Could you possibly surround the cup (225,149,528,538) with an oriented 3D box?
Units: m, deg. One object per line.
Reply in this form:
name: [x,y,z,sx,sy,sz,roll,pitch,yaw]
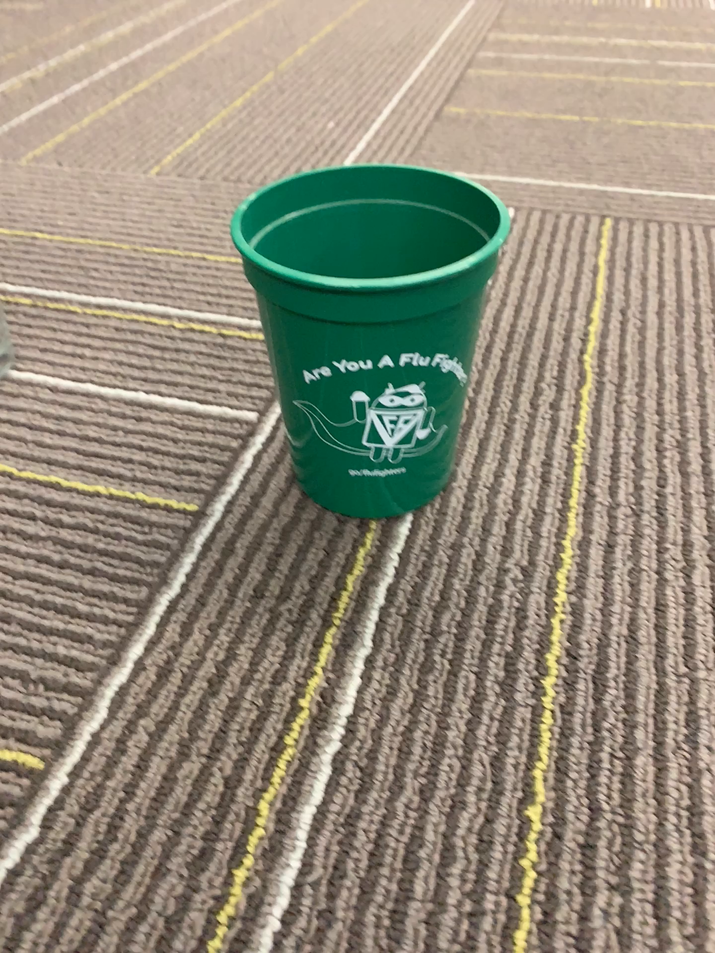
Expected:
cup: [0.005,-0.049,0.290,0.090,0.119,0.080,-4,43,-2]
